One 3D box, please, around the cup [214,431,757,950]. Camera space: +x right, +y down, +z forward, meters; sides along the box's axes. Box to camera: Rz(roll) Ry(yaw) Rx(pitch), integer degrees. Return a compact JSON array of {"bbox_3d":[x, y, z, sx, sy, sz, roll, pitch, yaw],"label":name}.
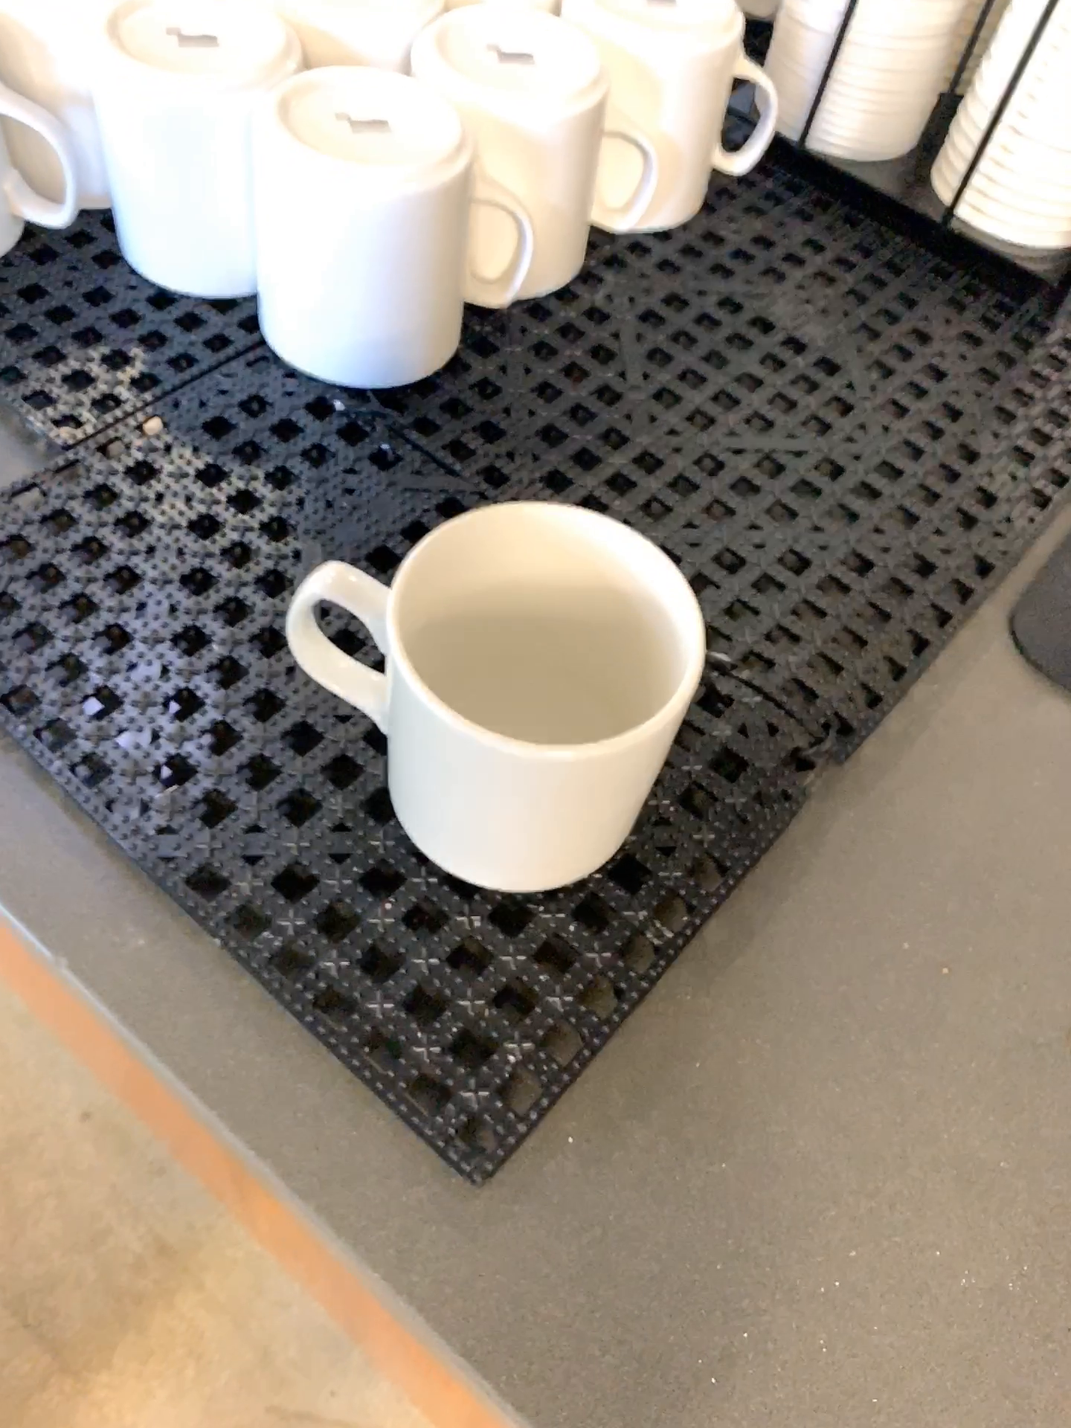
[{"bbox_3d":[-0.013,-0.006,0.326,0.120,0.080,0.090,19,56,5],"label":"cup"}]
